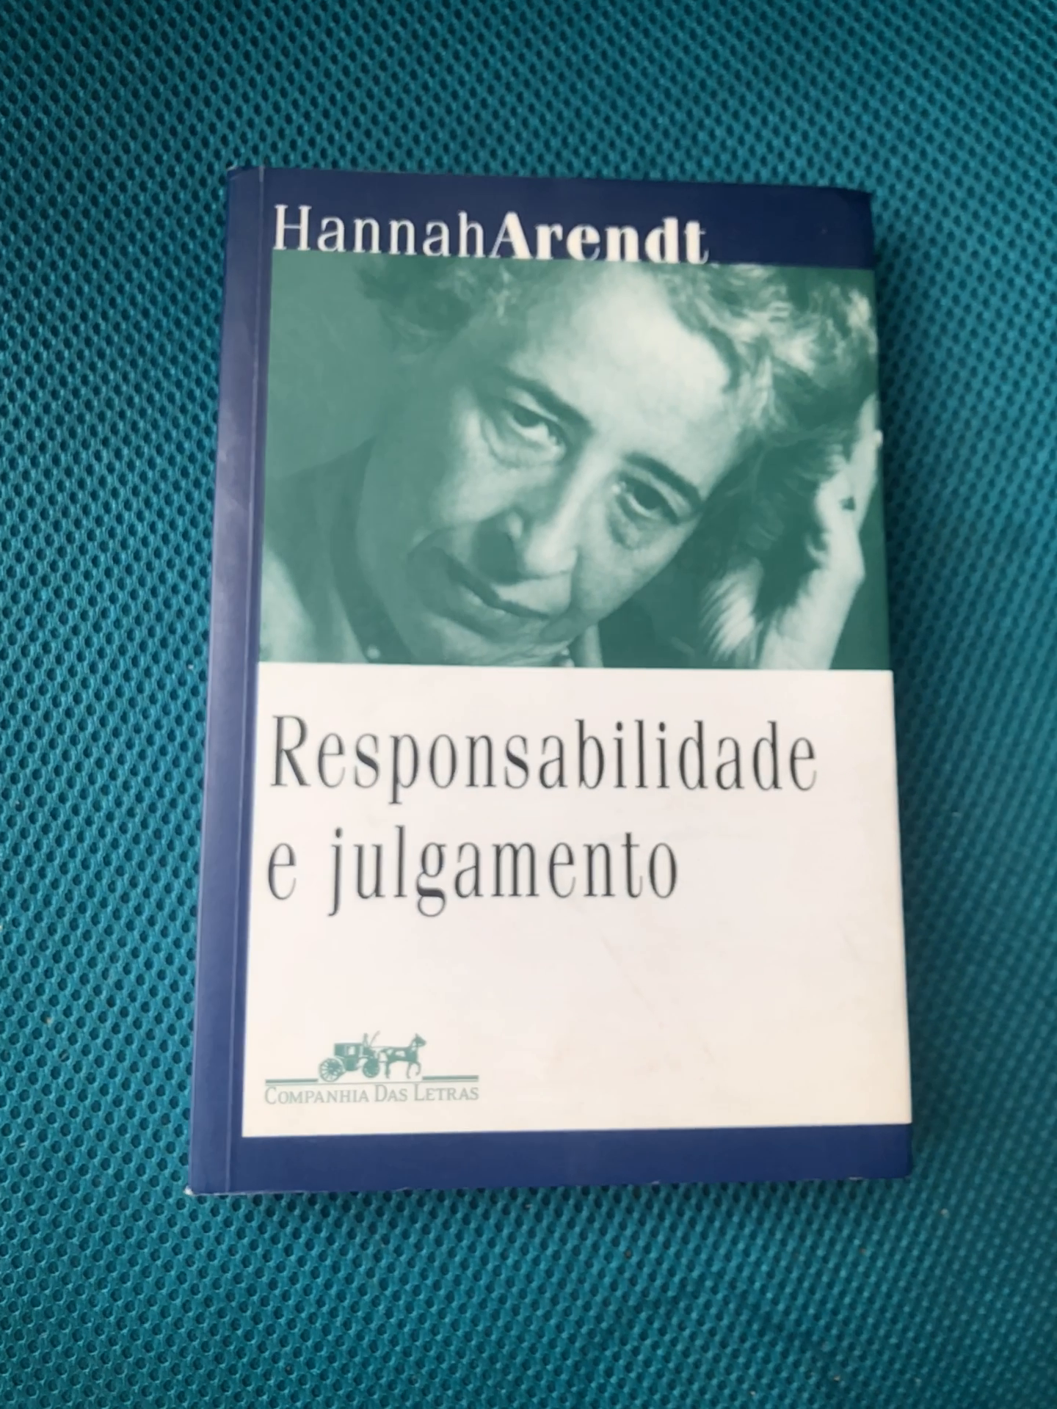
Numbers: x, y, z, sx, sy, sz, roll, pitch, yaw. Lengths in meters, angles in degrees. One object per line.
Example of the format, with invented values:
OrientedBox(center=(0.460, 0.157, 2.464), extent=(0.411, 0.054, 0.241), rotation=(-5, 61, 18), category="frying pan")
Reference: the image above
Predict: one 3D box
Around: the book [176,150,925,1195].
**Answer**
OrientedBox(center=(0.005, -0.010, 0.255), extent=(0.141, 0.035, 0.209), rotation=(1, 82, -3), category="book")
